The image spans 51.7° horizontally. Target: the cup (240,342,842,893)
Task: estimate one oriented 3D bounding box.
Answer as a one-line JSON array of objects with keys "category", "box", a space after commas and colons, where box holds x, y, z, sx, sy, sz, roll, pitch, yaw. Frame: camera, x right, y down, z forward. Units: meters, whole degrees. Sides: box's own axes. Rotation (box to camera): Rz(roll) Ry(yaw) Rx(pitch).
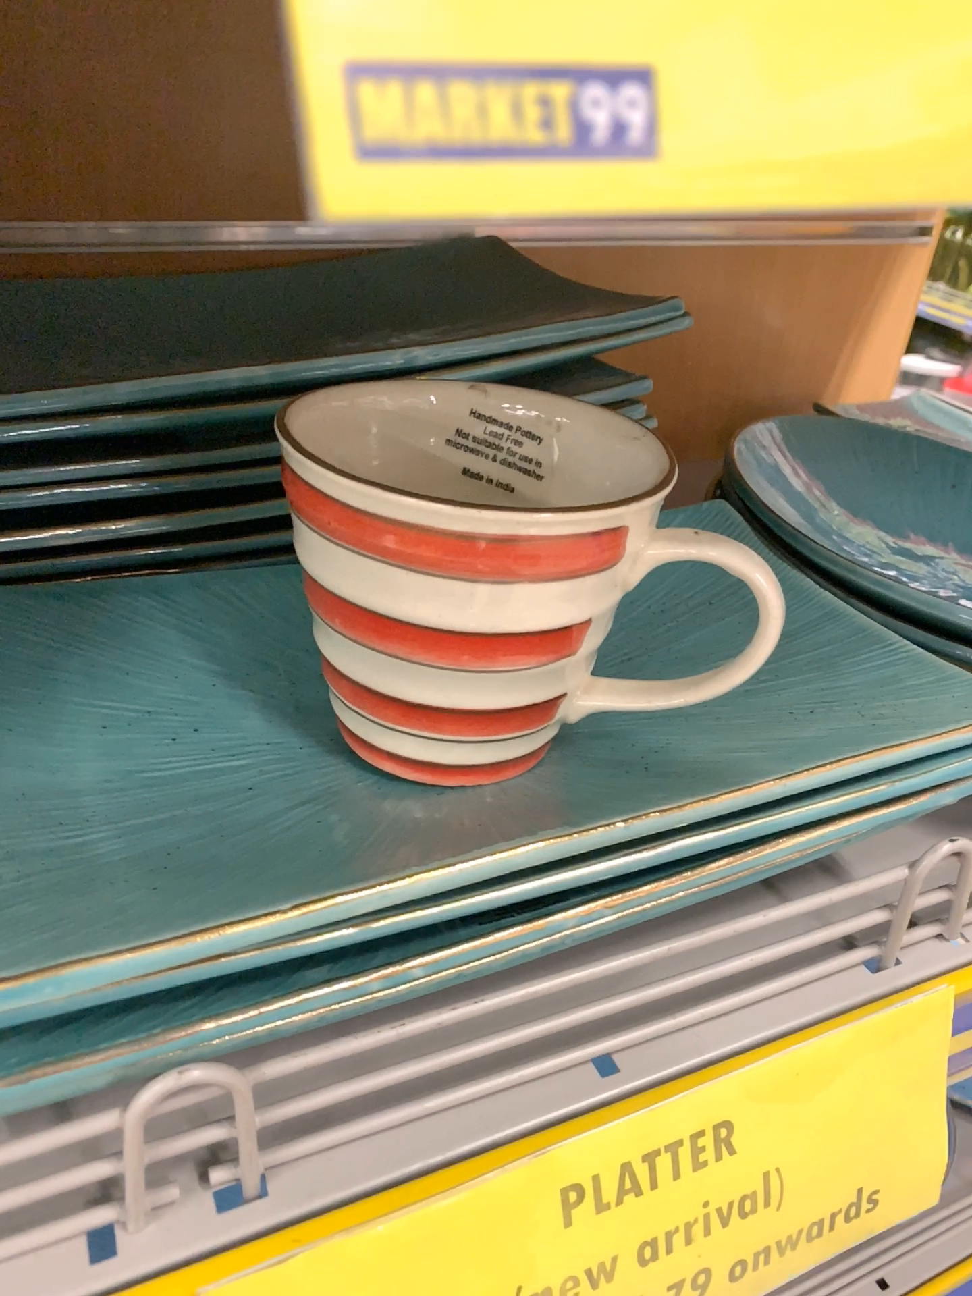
[{"category": "cup", "box": [0.016, -0.019, 0.282, 0.130, 0.090, 0.100, 17, 32, 17]}]
